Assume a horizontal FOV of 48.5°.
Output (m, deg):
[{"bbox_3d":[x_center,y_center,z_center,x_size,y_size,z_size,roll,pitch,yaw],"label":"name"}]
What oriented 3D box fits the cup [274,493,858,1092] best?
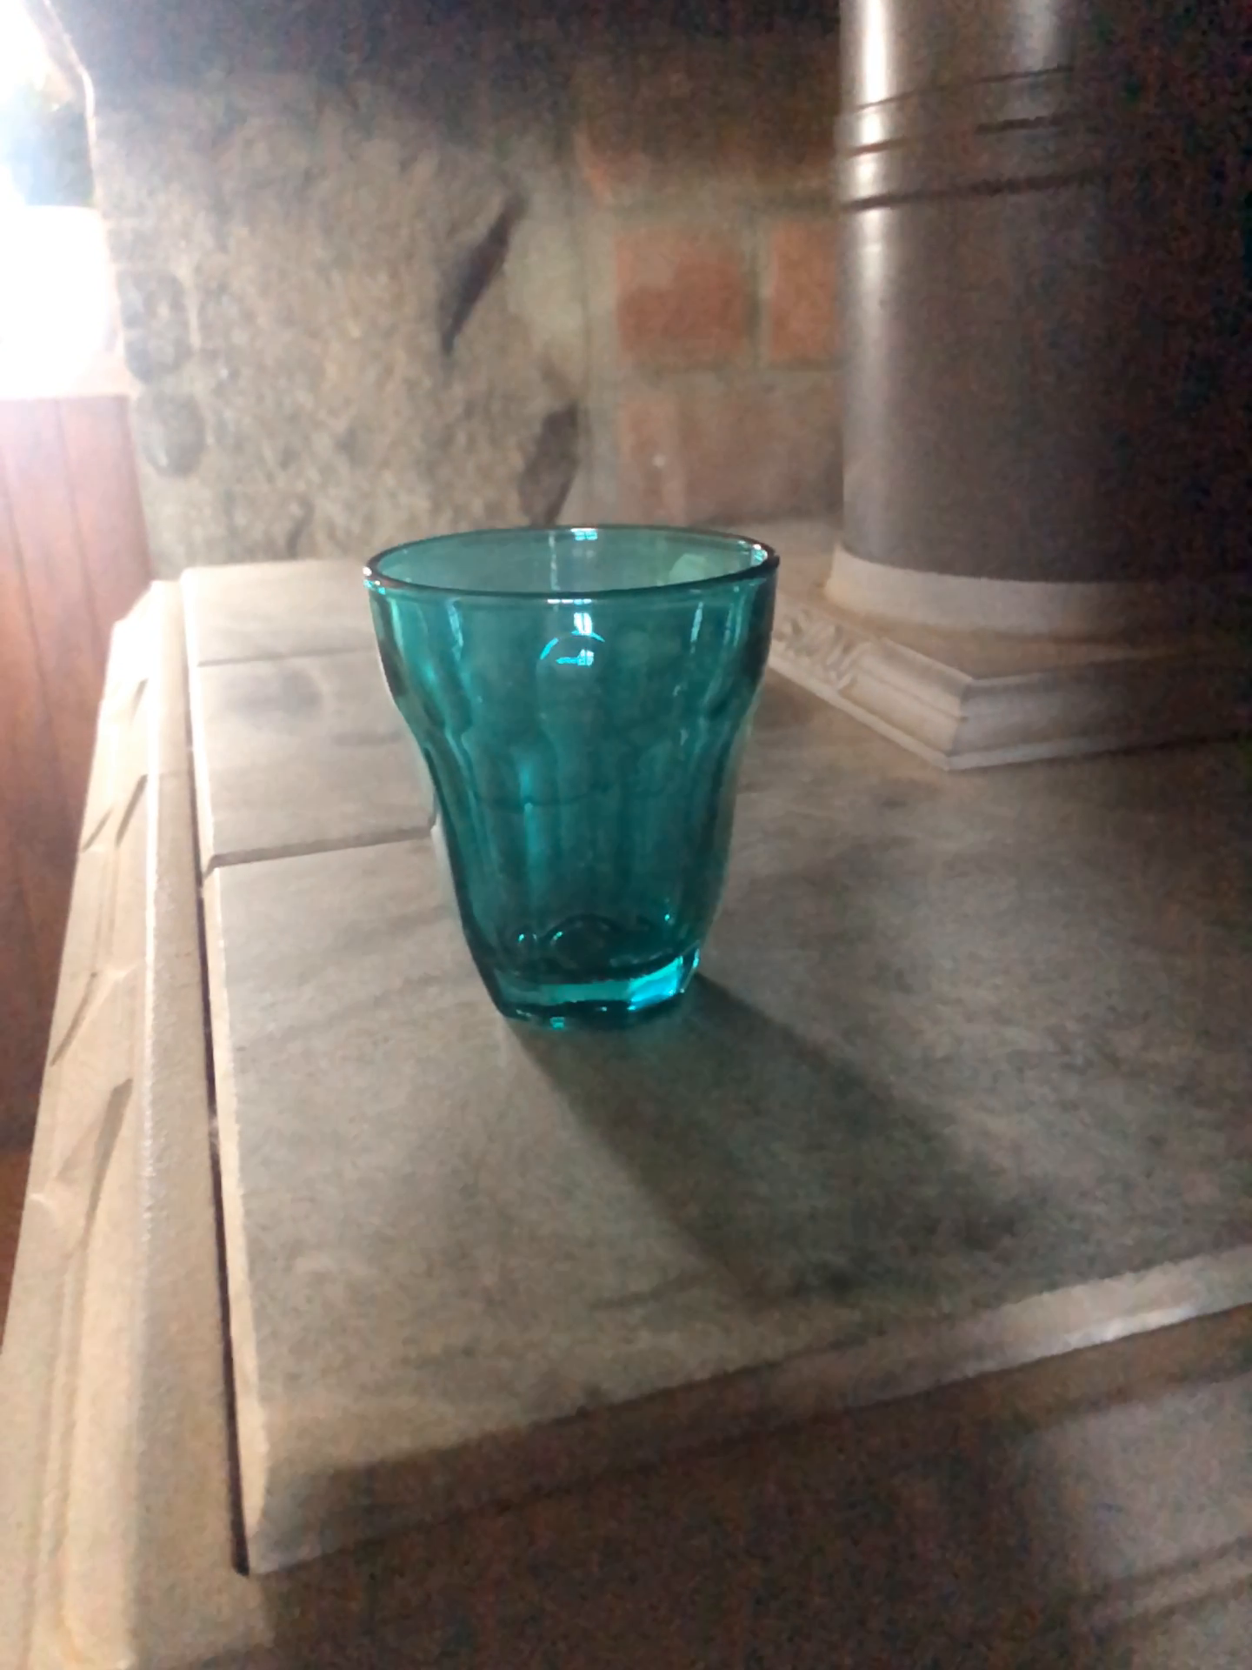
[{"bbox_3d":[-0.008,-0.015,0.249,0.070,0.080,0.070,-2,20,1],"label":"cup"}]
